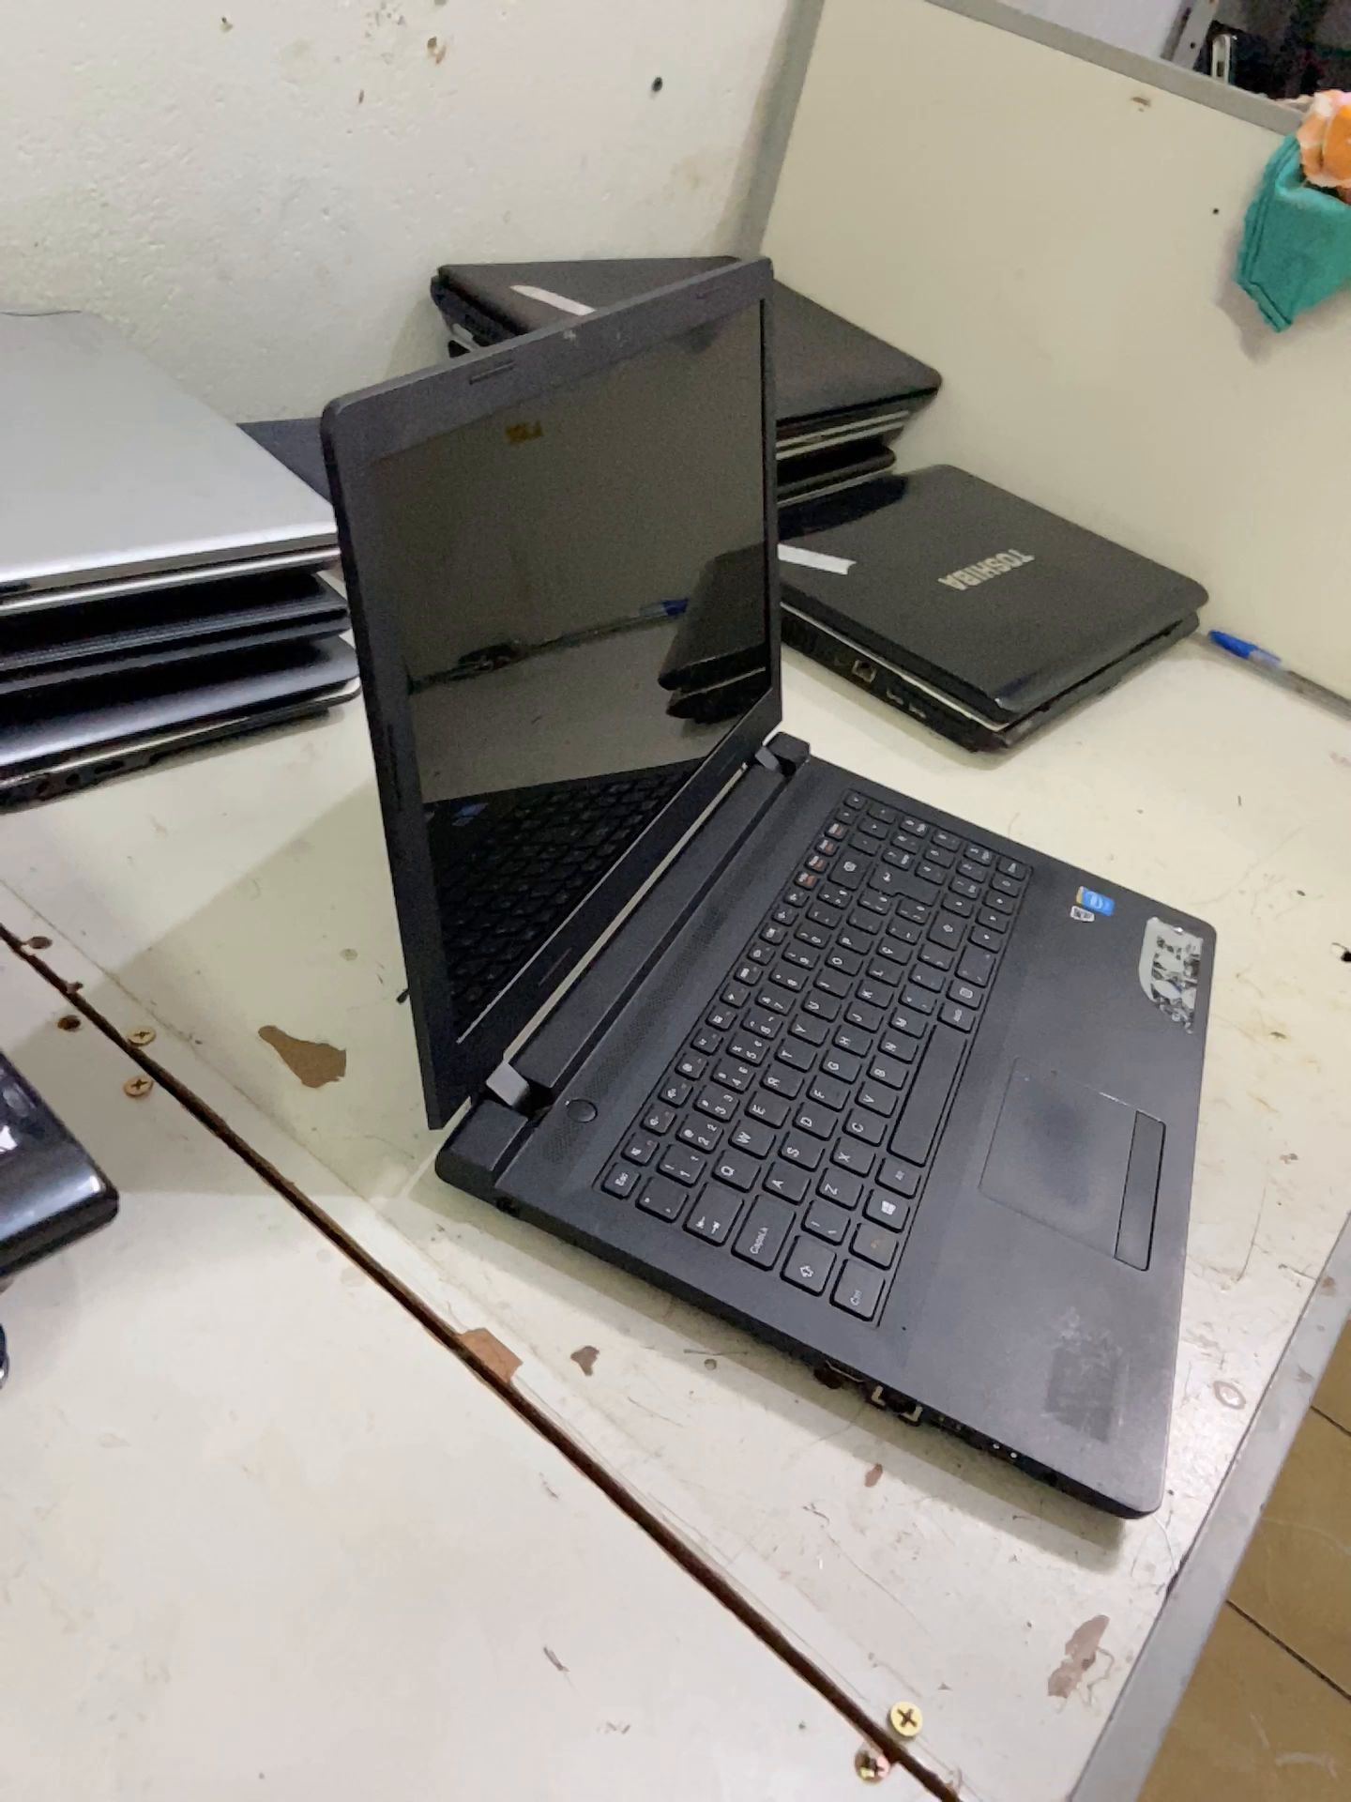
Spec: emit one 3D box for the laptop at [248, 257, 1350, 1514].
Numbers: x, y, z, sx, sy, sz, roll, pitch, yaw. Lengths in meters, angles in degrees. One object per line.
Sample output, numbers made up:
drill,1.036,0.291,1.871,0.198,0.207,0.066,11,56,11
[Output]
laptop,0.092,-0.058,0.552,0.337,0.230,0.378,25,36,9
